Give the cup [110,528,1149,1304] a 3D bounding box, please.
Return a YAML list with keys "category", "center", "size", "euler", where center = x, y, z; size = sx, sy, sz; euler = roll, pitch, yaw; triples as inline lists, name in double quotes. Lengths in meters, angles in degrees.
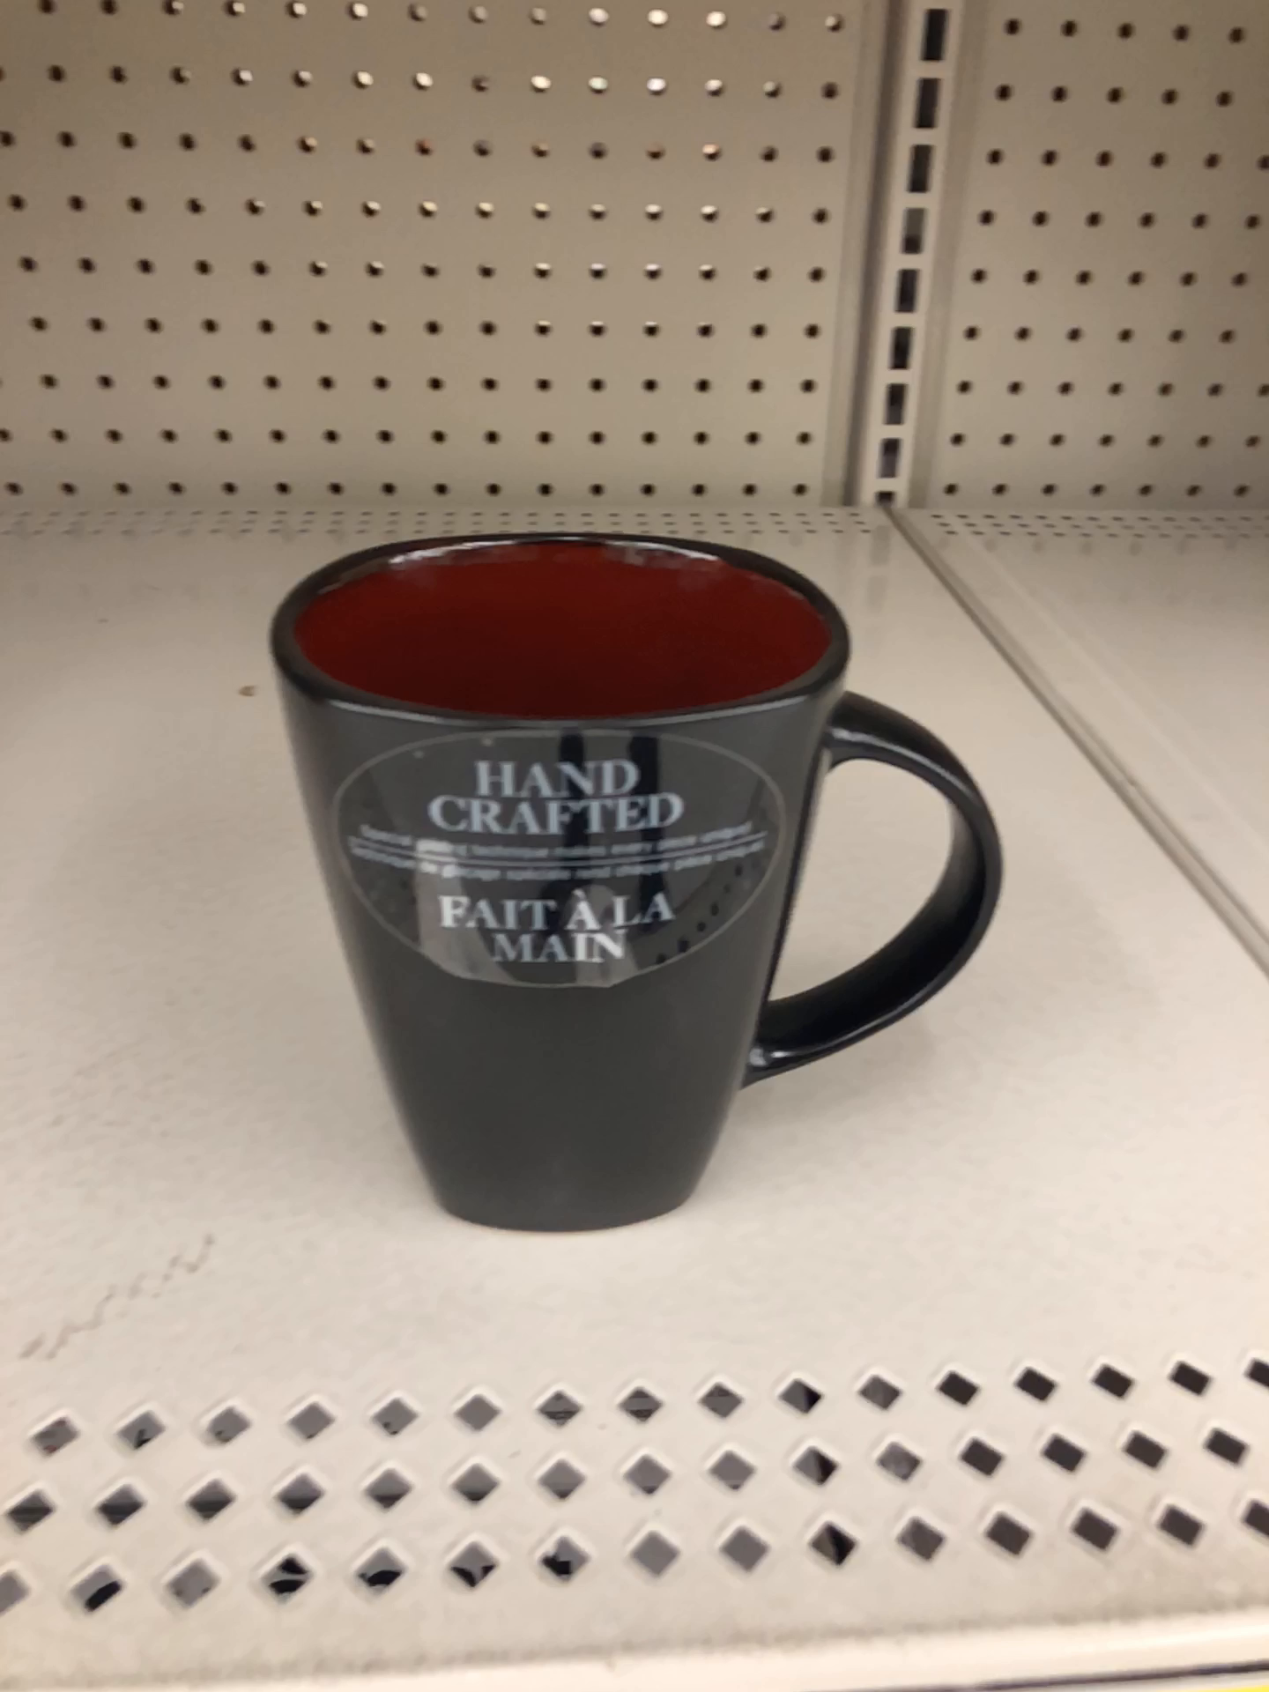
- category: "cup"
  center: [-0.004, 0.006, 0.259]
  size: [0.143, 0.099, 0.100]
  euler: [-2, 29, -5]
